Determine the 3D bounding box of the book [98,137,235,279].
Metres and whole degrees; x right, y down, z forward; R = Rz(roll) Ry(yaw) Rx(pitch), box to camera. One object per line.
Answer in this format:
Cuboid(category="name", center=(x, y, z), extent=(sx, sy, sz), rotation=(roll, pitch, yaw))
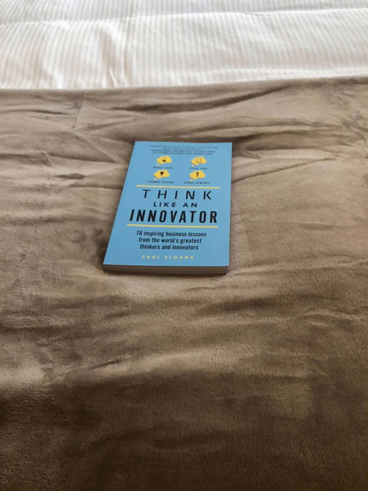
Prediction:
Cuboid(category="book", center=(-0.010, -0.057, 0.494), extent=(0.140, 0.020, 0.221), rotation=(1, 49, 7))
